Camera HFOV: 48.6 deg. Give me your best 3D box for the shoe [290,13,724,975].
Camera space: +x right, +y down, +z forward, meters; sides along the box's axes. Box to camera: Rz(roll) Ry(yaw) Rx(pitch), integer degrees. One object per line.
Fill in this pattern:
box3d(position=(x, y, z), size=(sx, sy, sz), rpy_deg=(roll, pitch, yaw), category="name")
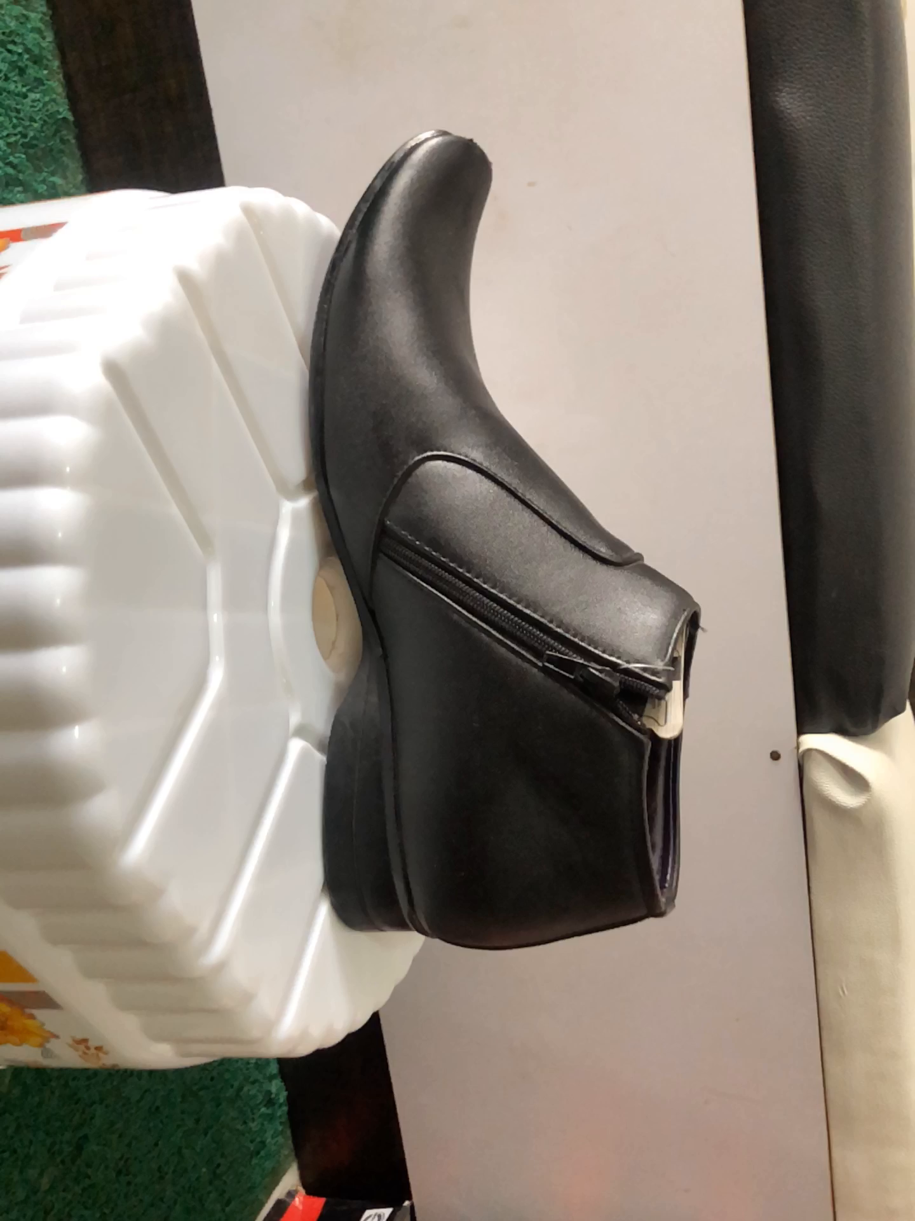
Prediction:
box3d(position=(0.024, -0.035, 0.386), size=(0.121, 0.119, 0.310), rpy_deg=(30, 57, -67), category="shoe")
